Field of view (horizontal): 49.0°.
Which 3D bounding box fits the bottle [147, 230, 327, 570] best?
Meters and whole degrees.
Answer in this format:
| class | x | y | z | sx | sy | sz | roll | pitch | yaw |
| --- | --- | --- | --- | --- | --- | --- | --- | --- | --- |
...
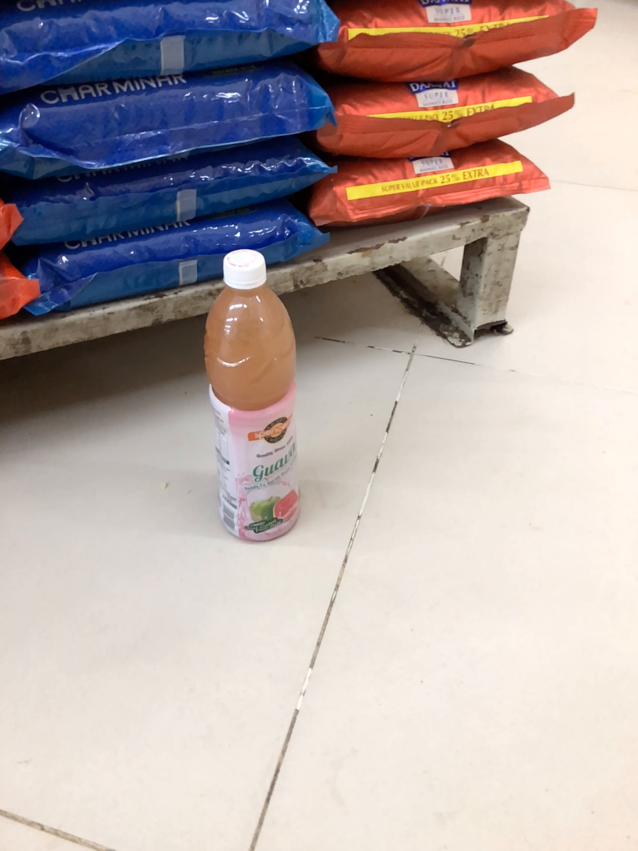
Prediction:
| class | x | y | z | sx | sy | sz | roll | pitch | yaw |
| --- | --- | --- | --- | --- | --- | --- | --- | --- | --- |
| bottle | -0.059 | -0.012 | 0.580 | 0.090 | 0.258 | 0.090 | 0 | 42 | 0 |
